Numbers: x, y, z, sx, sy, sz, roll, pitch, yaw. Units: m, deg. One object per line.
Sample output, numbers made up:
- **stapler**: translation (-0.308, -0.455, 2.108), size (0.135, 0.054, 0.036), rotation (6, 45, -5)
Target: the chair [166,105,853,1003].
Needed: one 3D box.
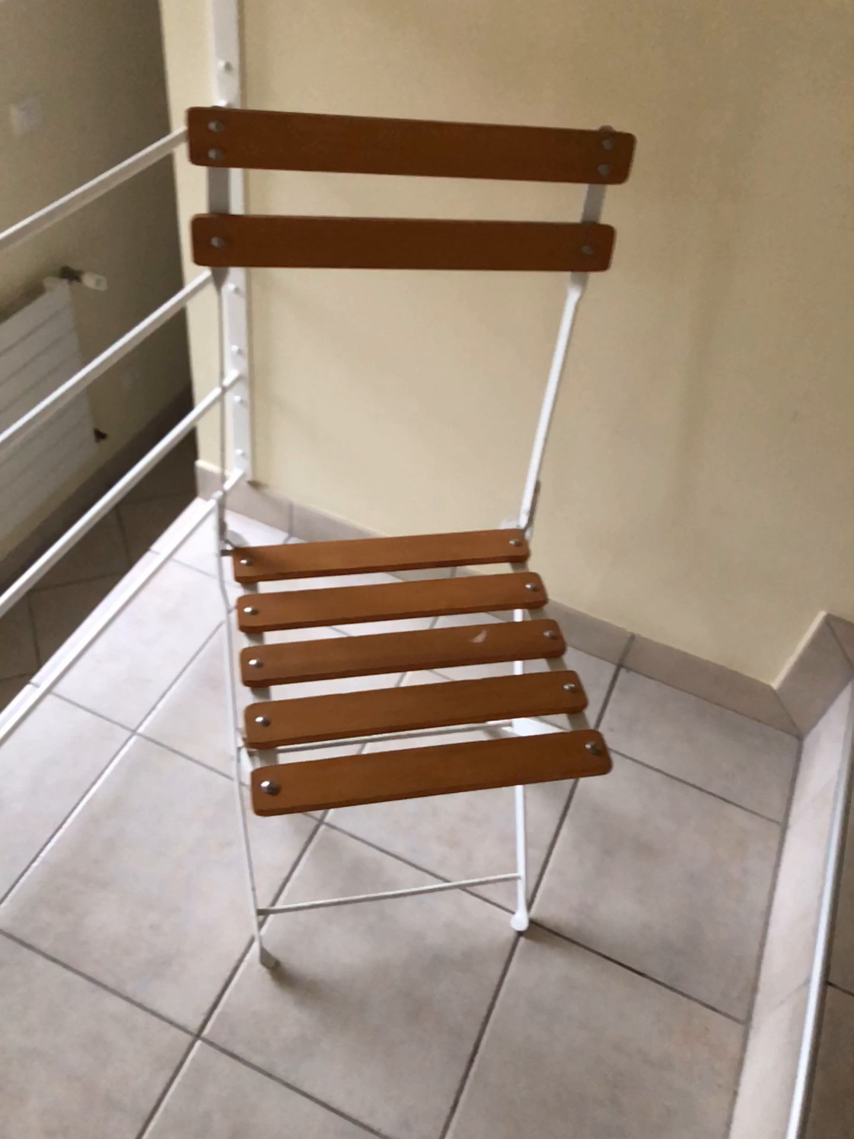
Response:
- **chair**: translation (-0.015, 0.048, 1.014), size (0.441, 0.875, 0.432), rotation (-4, 46, -12)
